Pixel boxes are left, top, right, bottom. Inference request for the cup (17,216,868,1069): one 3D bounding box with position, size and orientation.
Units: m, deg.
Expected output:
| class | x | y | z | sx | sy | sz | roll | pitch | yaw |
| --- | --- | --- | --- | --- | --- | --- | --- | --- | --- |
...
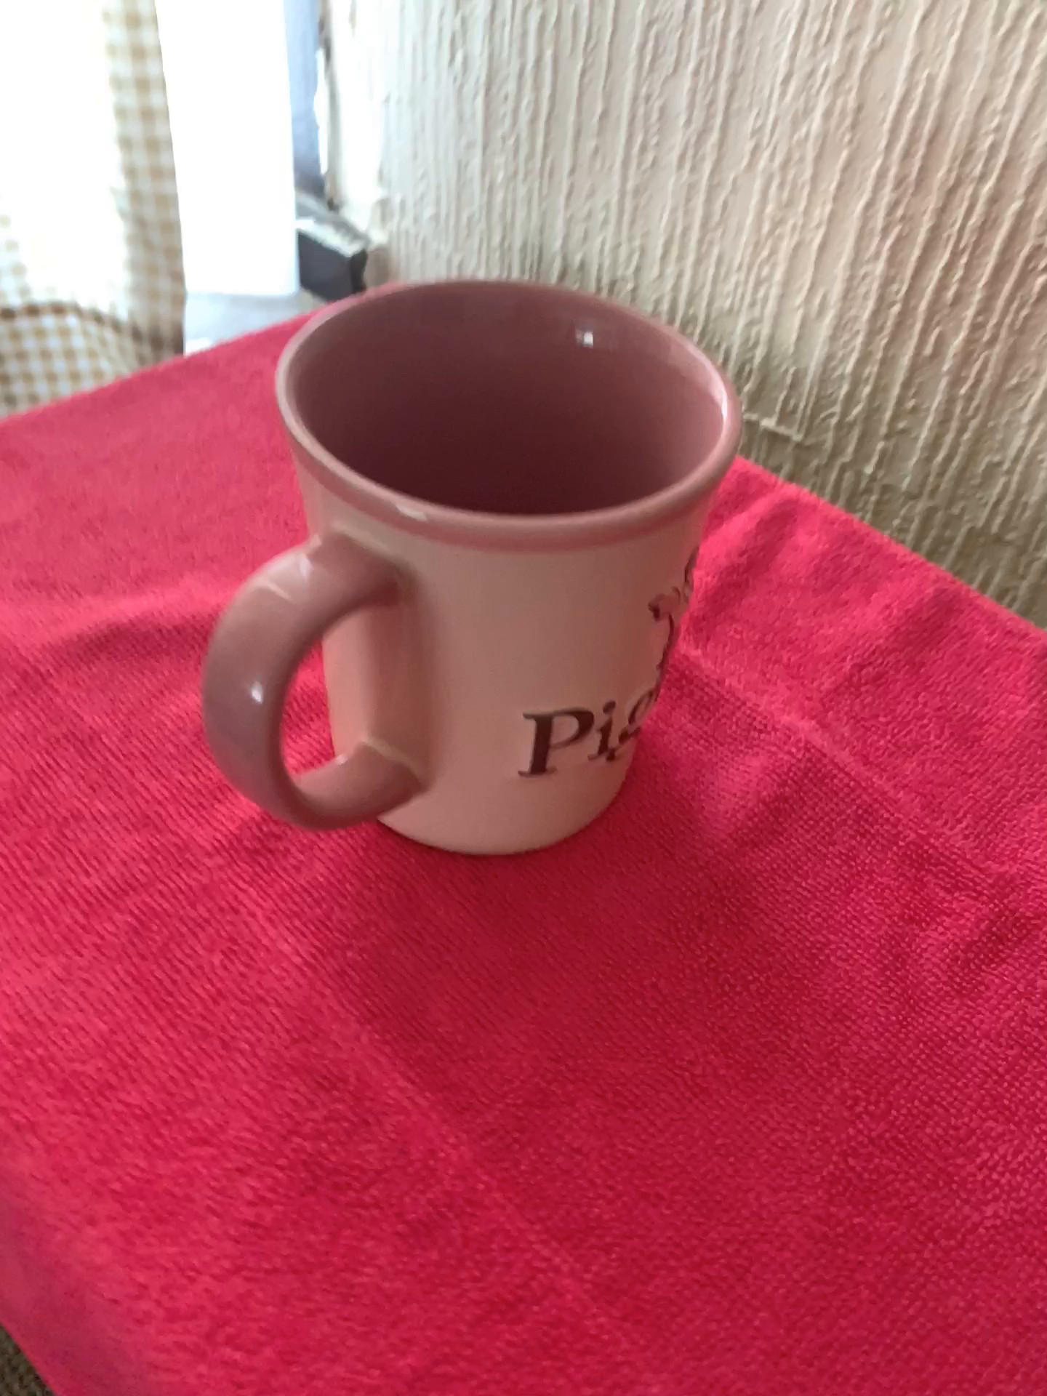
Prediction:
| class | x | y | z | sx | sy | sz | roll | pitch | yaw |
| --- | --- | --- | --- | --- | --- | --- | --- | --- | --- |
| cup | -0.012 | -0.019 | 0.237 | 0.090 | 0.109 | 0.131 | 34 | 51 | 25 |
